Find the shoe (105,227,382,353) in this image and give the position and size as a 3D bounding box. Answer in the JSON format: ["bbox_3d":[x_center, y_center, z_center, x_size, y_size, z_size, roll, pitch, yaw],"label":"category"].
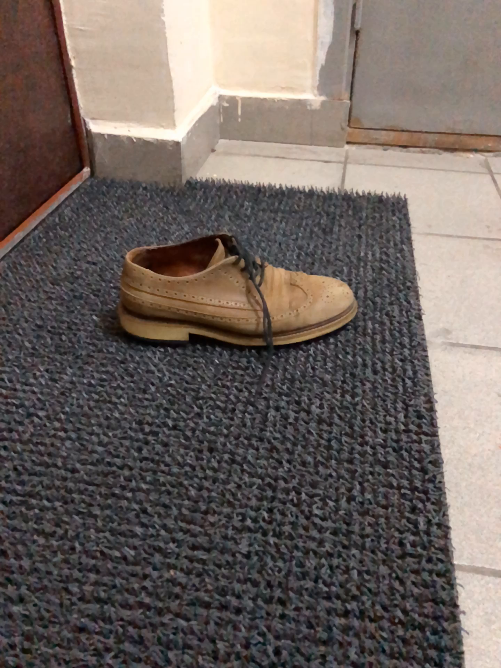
[{"bbox_3d":[-0.009,-0.056,0.668,0.300,0.099,0.111,-2,37,-3],"label":"shoe"}]
